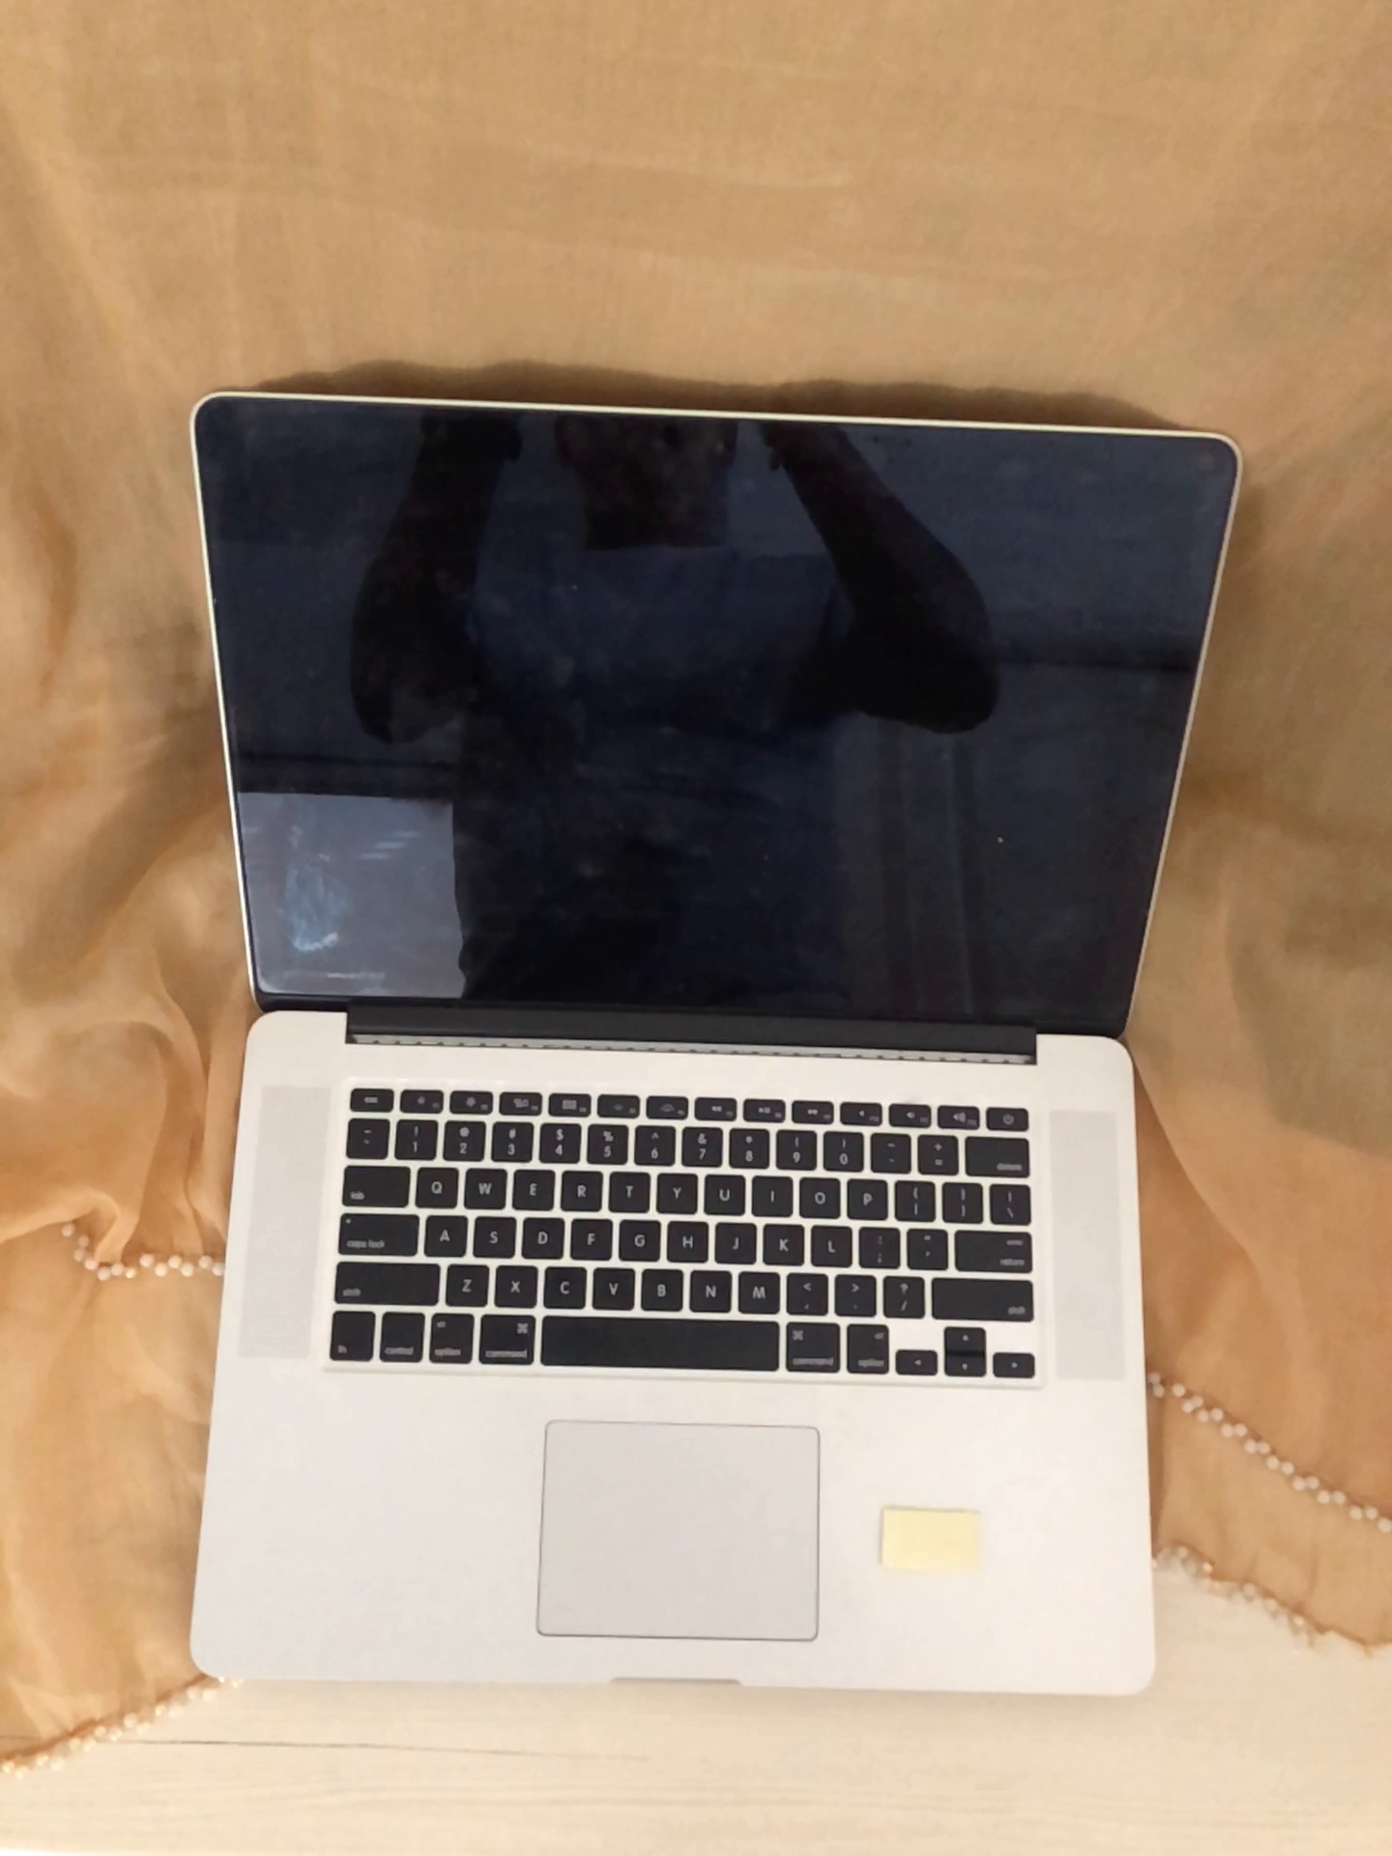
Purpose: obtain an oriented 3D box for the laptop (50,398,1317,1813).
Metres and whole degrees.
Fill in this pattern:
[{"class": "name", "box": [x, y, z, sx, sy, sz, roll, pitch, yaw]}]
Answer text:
[{"class": "laptop", "box": [0.002, 0.047, 0.512, 0.336, 0.135, 0.405, 2, 78, -1]}]
